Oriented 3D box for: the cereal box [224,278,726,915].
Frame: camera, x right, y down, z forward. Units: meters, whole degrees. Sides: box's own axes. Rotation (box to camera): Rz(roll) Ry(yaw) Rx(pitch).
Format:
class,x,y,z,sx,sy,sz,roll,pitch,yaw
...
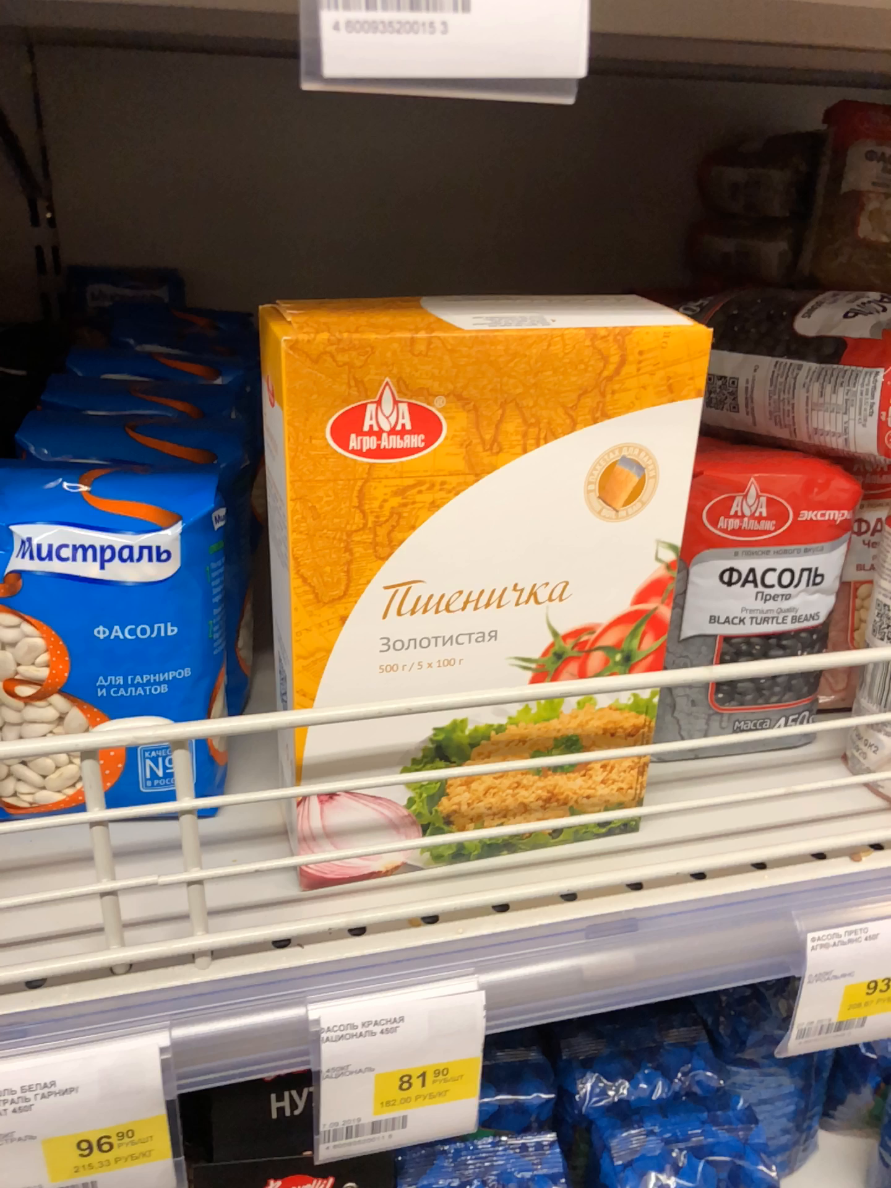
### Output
class,x,y,z,sx,sy,sz,roll,pitch,yaw
cereal box,0.005,0.000,0.341,0.140,0.199,0.060,-6,26,-16
